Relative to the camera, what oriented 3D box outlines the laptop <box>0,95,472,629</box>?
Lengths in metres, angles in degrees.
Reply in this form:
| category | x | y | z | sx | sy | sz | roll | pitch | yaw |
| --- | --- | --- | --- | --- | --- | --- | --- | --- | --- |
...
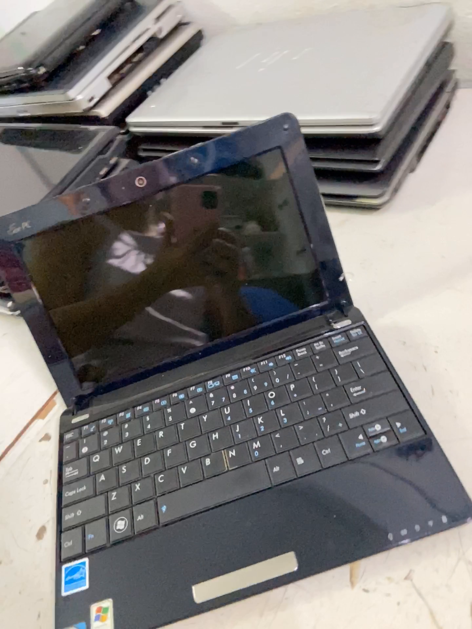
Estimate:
| category | x | y | z | sx | sy | sz | roll | pitch | yaw |
| --- | --- | --- | --- | --- | --- | --- | --- | --- | --- |
| laptop | -0.032 | 0.018 | 0.331 | 0.260 | 0.133 | 0.274 | -20 | 46 | 3 |
